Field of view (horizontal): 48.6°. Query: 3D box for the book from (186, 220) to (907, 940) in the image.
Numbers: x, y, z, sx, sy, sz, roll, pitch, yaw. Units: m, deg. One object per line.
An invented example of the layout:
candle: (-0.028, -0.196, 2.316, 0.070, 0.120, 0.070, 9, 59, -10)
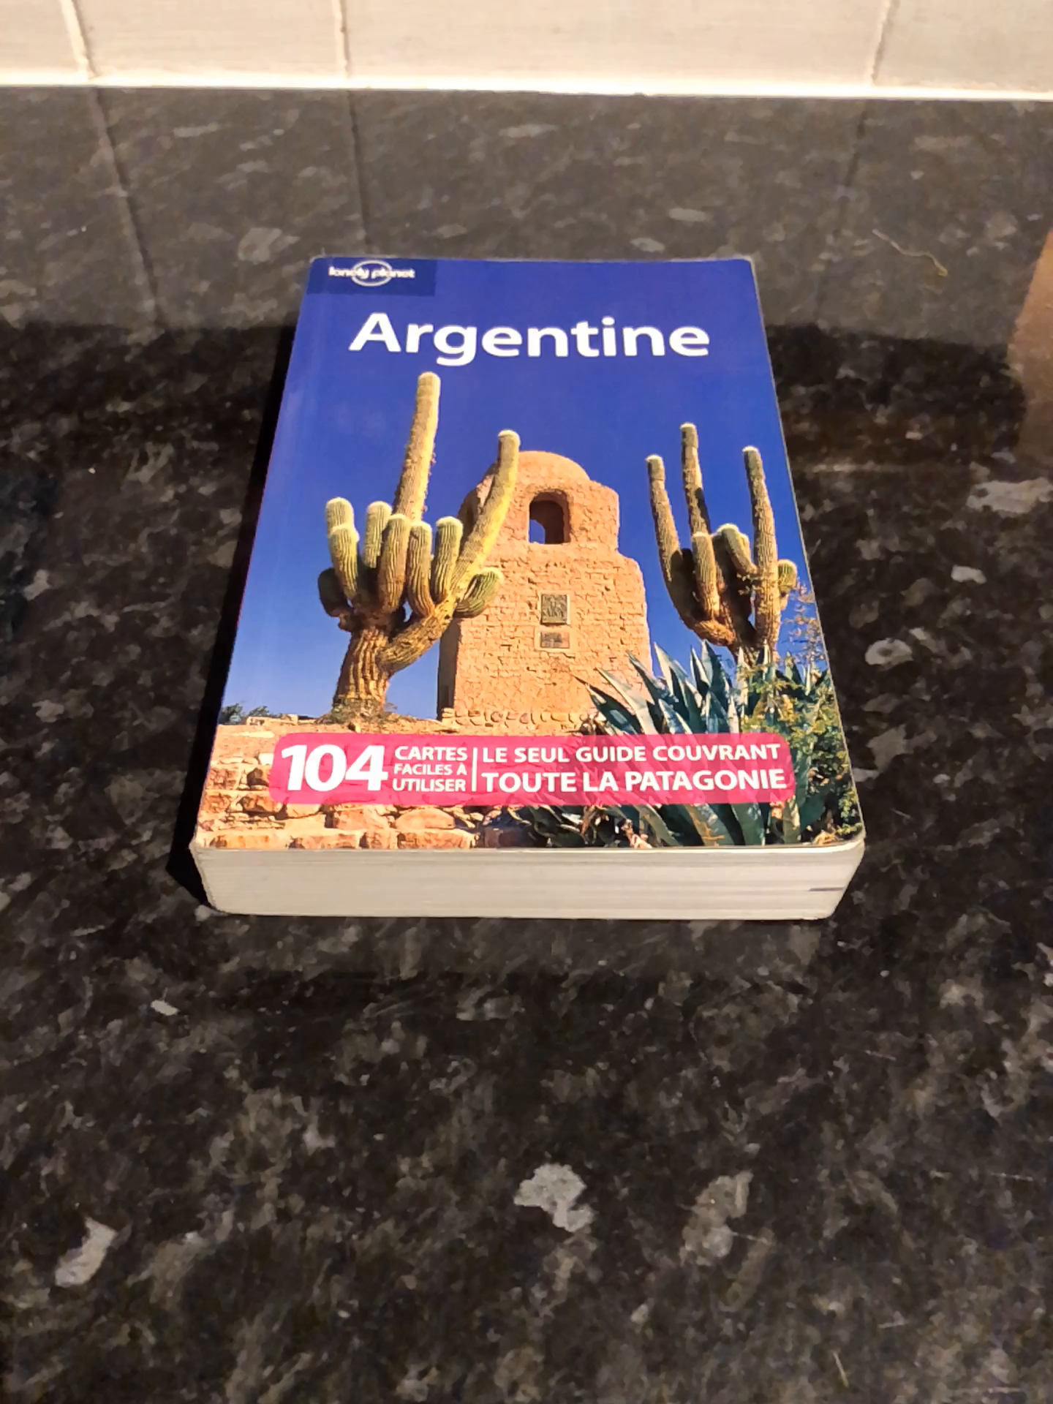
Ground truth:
book: (0.004, -0.046, 0.287, 0.130, 0.030, 0.211, 1, 52, -1)
